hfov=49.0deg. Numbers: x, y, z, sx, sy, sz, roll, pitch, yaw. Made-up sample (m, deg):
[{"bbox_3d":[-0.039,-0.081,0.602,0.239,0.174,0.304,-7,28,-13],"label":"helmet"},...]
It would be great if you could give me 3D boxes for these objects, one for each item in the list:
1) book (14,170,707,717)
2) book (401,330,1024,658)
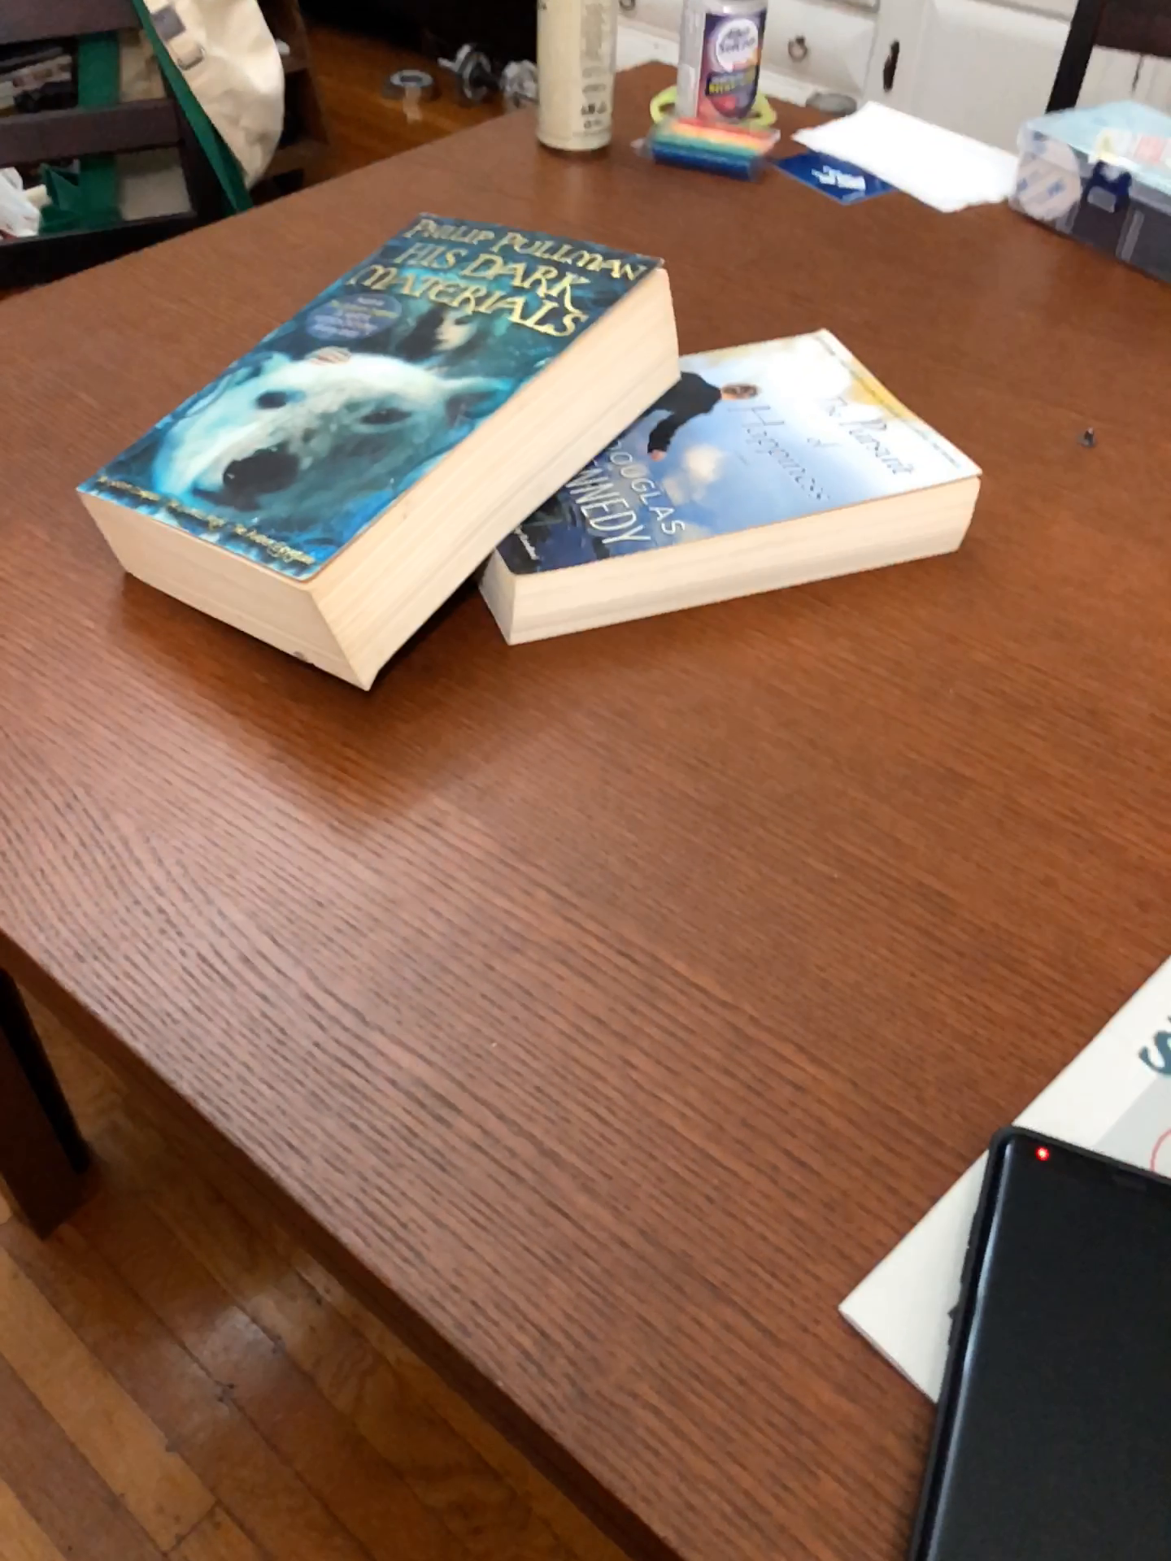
[{"bbox_3d":[-0.087,-0.159,0.550,0.170,0.060,0.241,26,62,28],"label":"book"},{"bbox_3d":[0.050,-0.144,0.603,0.240,0.040,0.171,-13,41,-11],"label":"book"}]
